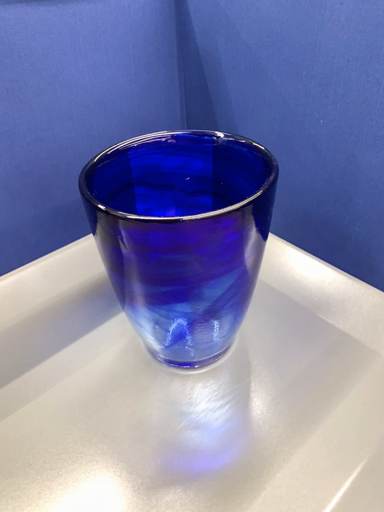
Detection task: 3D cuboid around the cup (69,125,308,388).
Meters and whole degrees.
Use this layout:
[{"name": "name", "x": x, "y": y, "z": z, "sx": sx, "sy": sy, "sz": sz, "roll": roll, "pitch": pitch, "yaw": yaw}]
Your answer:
[{"name": "cup", "x": 0.001, "y": 0.000, "z": 0.212, "sx": 0.087, "sy": 0.111, "sz": 0.082, "roll": -1, "pitch": 36, "yaw": 1}]
